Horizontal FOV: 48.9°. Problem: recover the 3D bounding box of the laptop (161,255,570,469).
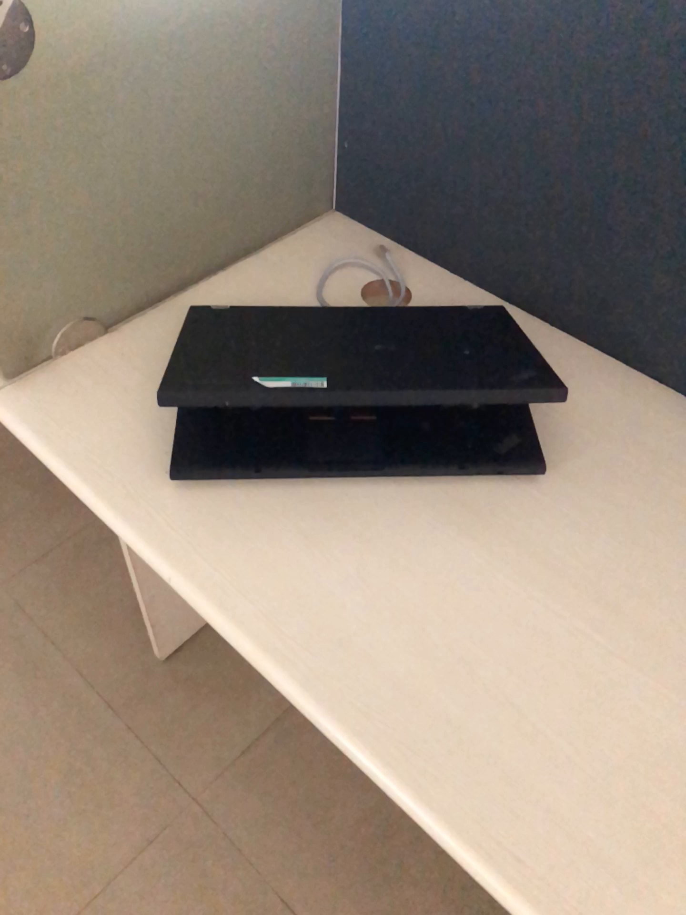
[{"bbox_3d":[0.016,-0.105,0.774,0.363,0.077,0.236,-1,48,-4],"label":"laptop"}]
